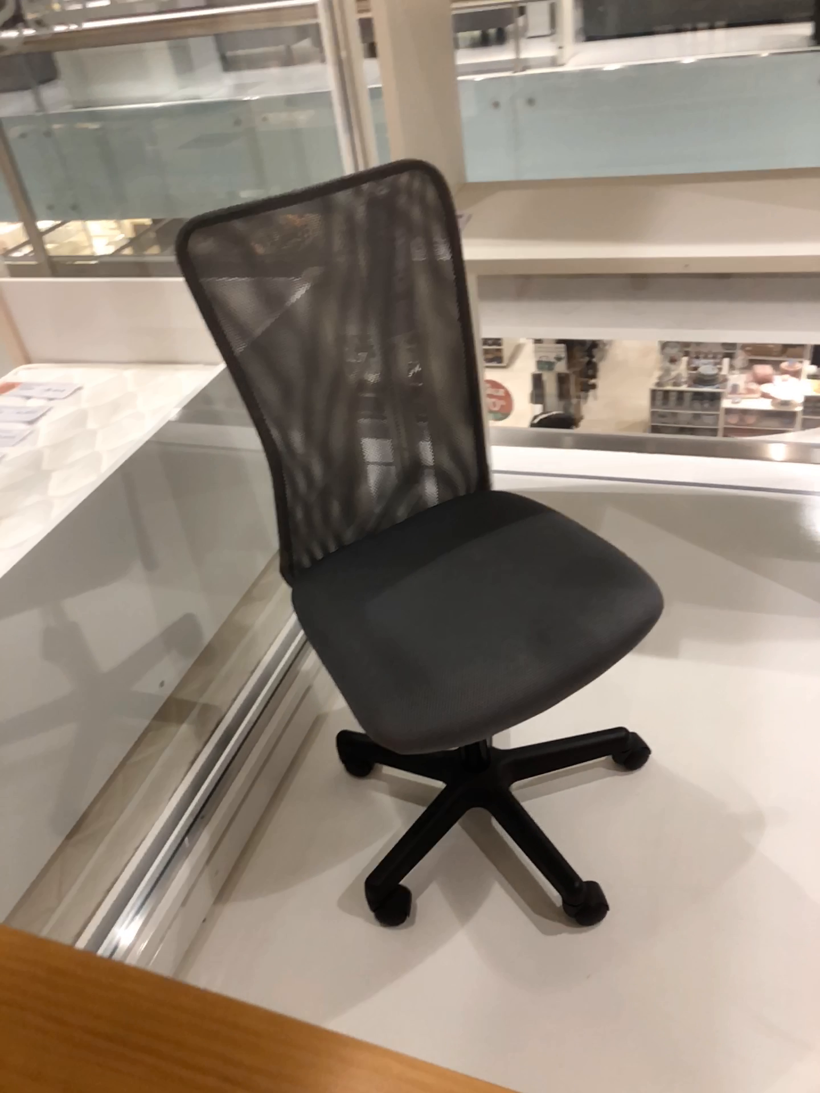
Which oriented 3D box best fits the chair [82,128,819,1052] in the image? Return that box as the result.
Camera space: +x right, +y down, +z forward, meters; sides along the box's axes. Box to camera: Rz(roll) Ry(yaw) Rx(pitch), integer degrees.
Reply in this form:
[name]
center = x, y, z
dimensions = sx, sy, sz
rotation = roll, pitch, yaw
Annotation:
[chair]
center = 0.072, 0.032, 1.225
dimensions = 0.581, 0.932, 0.604
rotation = -25, 38, -21
